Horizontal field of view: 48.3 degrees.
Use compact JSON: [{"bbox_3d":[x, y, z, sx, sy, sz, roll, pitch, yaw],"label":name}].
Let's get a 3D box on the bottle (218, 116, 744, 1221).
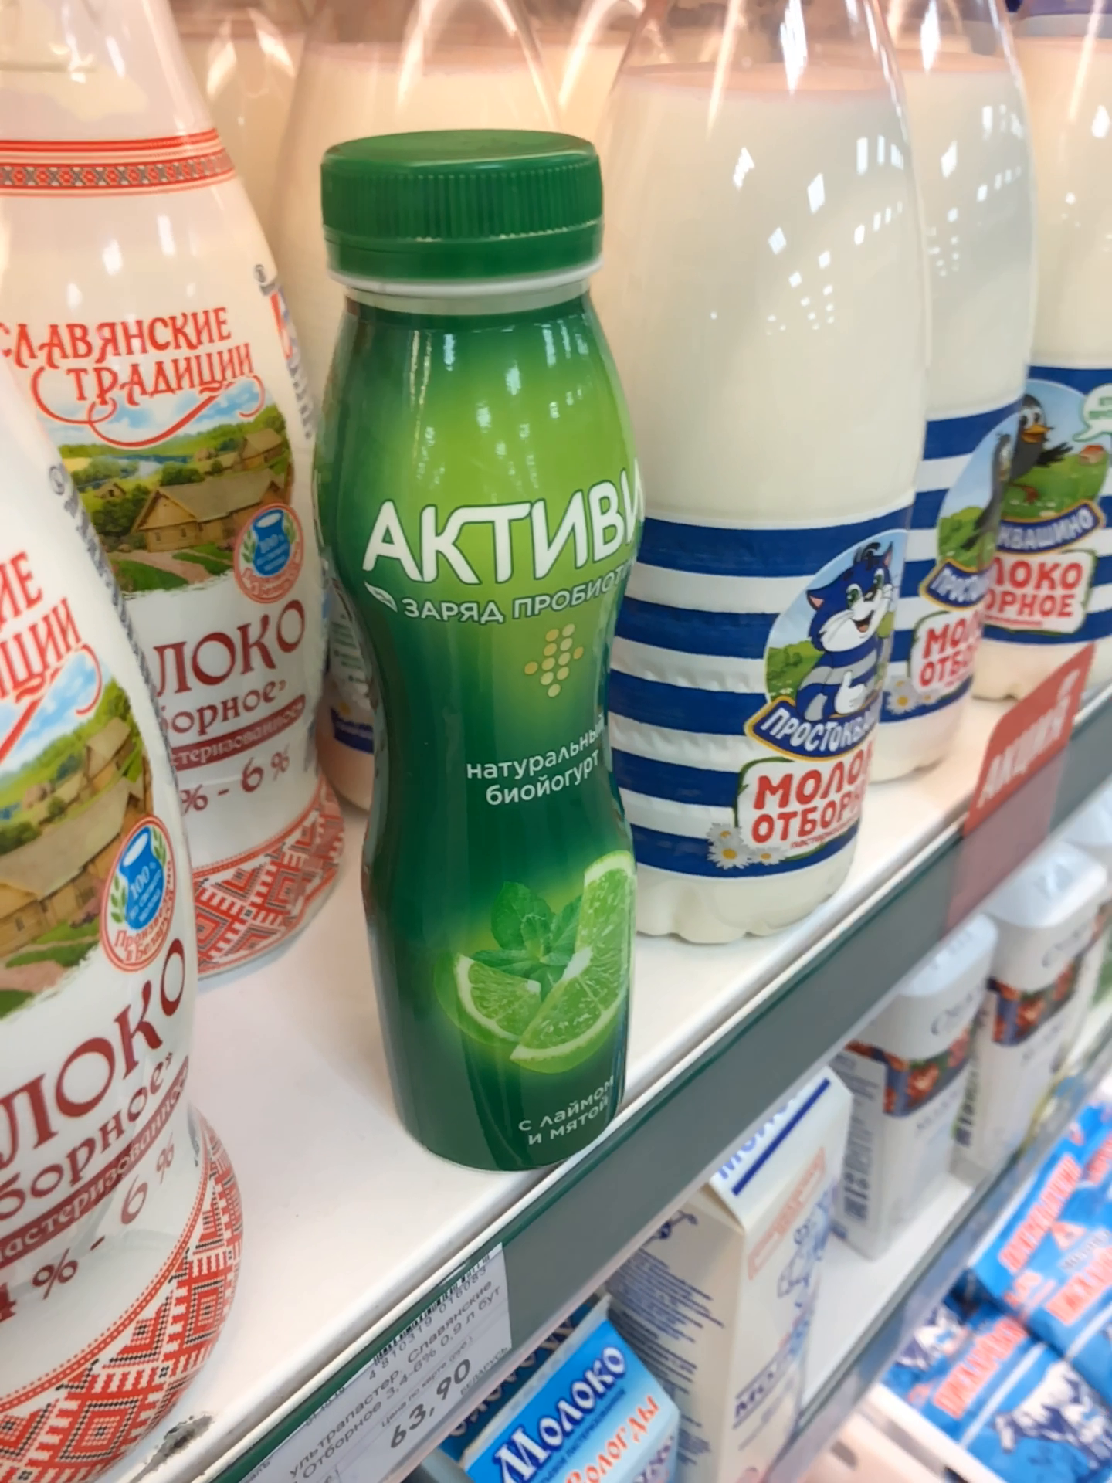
[{"bbox_3d":[-0.012,-0.006,0.217,0.053,0.179,0.052,0,32,0],"label":"bottle"}]
